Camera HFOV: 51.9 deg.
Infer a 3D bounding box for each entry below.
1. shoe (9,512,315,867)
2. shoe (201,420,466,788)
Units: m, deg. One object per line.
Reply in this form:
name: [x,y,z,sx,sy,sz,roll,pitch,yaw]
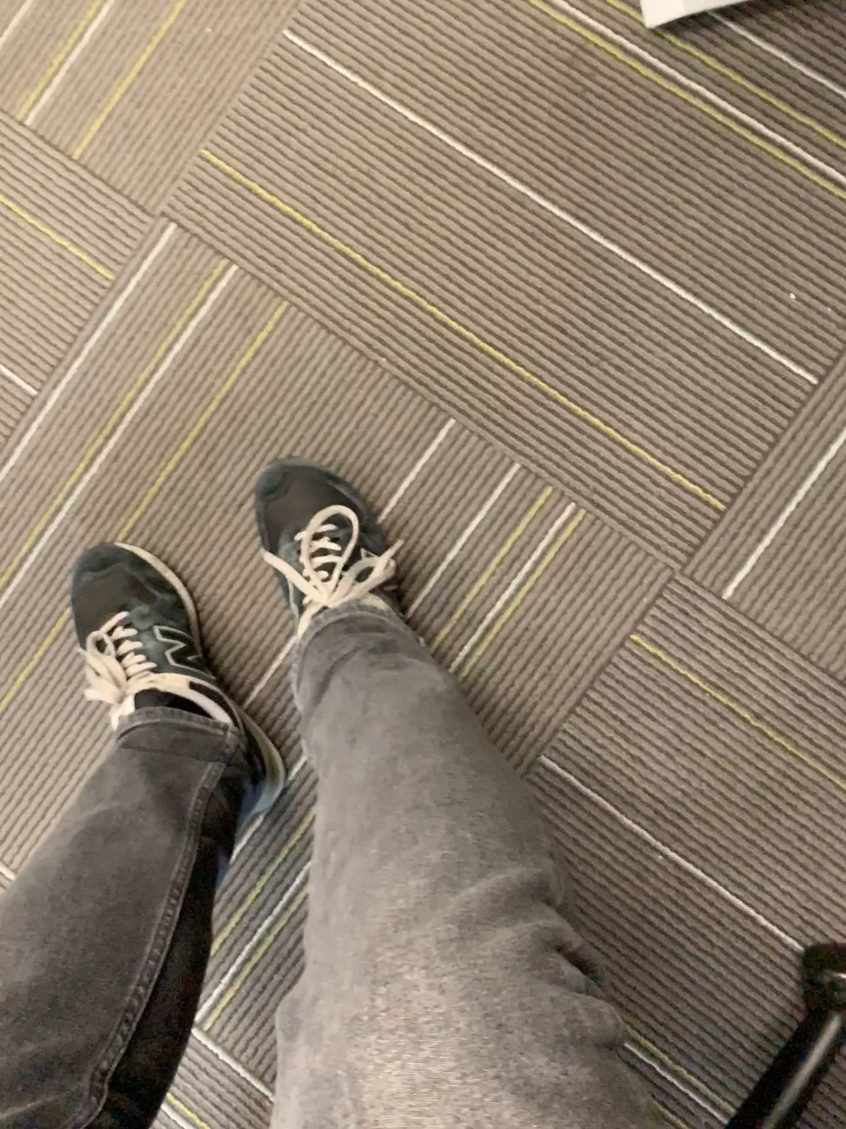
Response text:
shoe: [-0.239,0.110,0.805,0.121,0.071,0.295,-35,85,5]
shoe: [-0.078,0.034,0.786,0.119,0.071,0.294,-24,86,6]
